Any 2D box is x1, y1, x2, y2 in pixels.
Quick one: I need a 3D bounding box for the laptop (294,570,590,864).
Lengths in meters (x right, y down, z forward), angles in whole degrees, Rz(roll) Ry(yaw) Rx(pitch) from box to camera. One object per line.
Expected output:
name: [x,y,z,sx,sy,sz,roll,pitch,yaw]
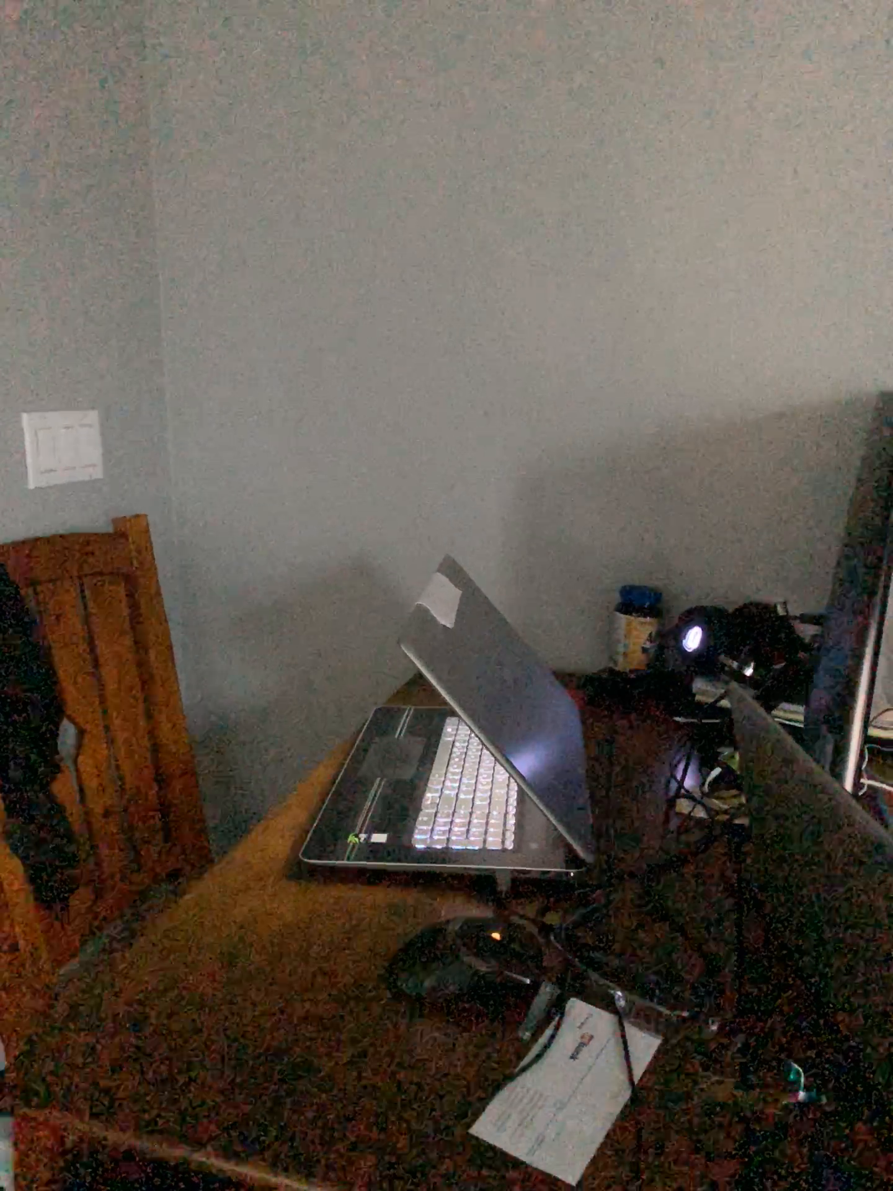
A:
laptop: [0.013,0.104,0.996,0.256,0.188,0.394,1,12,7]
